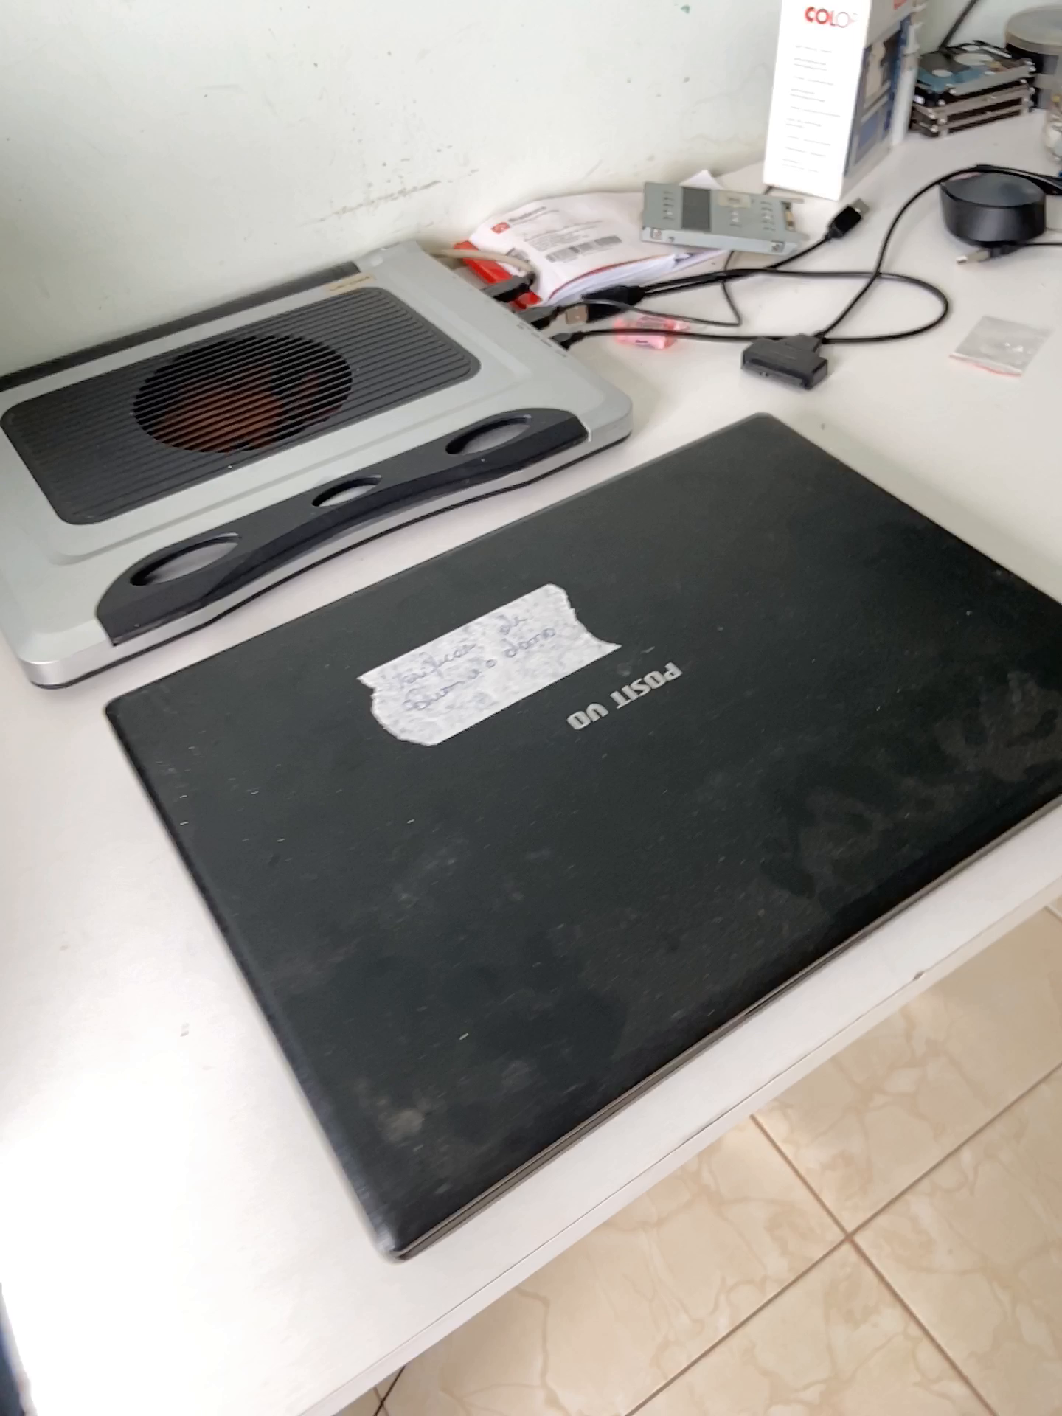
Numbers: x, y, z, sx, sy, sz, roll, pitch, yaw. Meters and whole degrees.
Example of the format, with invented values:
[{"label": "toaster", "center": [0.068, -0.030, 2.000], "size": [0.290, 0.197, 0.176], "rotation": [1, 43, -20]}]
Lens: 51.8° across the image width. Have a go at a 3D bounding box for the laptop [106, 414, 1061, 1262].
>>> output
[{"label": "laptop", "center": [0.037, 0.002, 0.412], "size": [0.329, 0.008, 0.234], "rotation": [-27, 52, -20]}]
